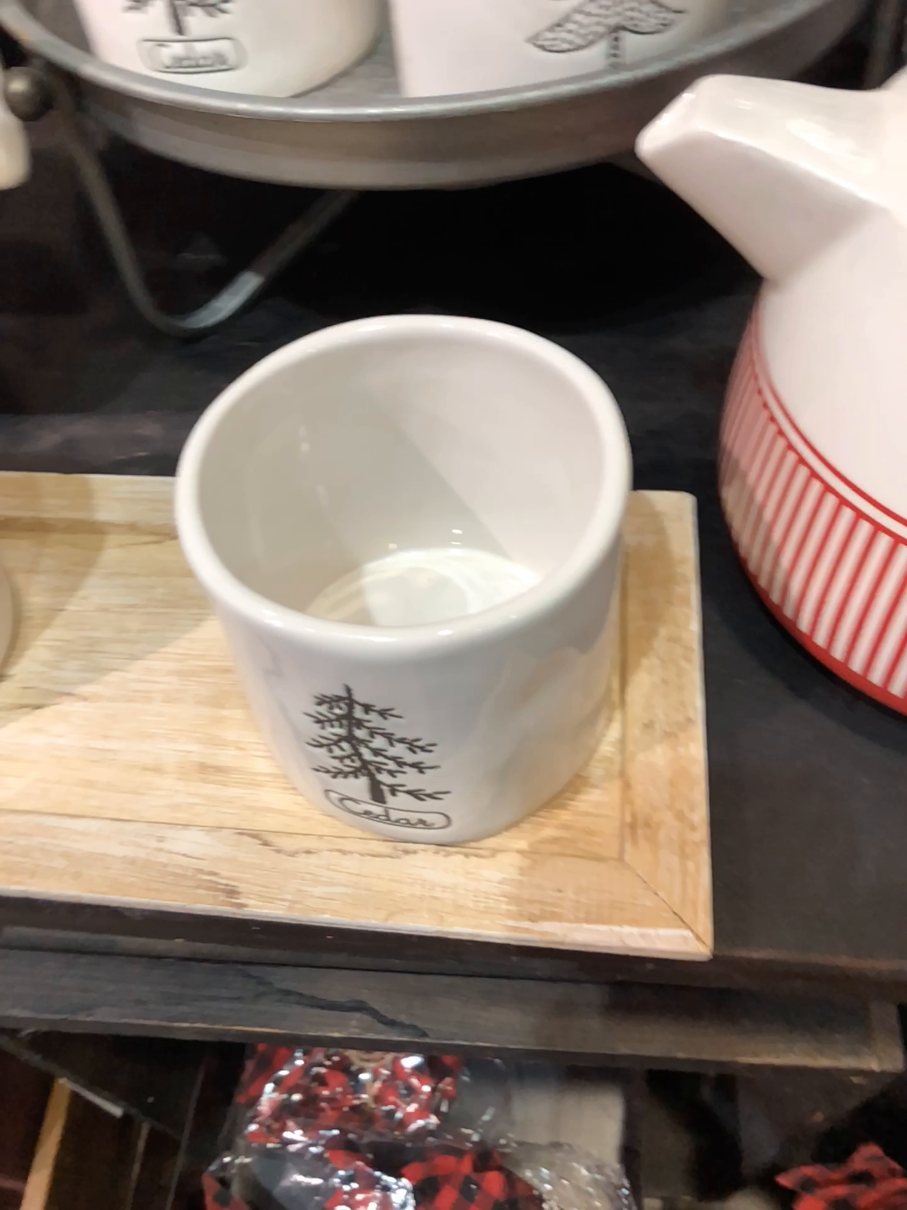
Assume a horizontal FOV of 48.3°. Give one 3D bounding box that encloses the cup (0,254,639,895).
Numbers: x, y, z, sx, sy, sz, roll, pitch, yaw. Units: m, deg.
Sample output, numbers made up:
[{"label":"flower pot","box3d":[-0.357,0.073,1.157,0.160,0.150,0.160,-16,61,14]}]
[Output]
[{"label":"cup","box3d":[-0.018,-0.005,0.230,0.097,0.100,0.087,11,56,14]}]
